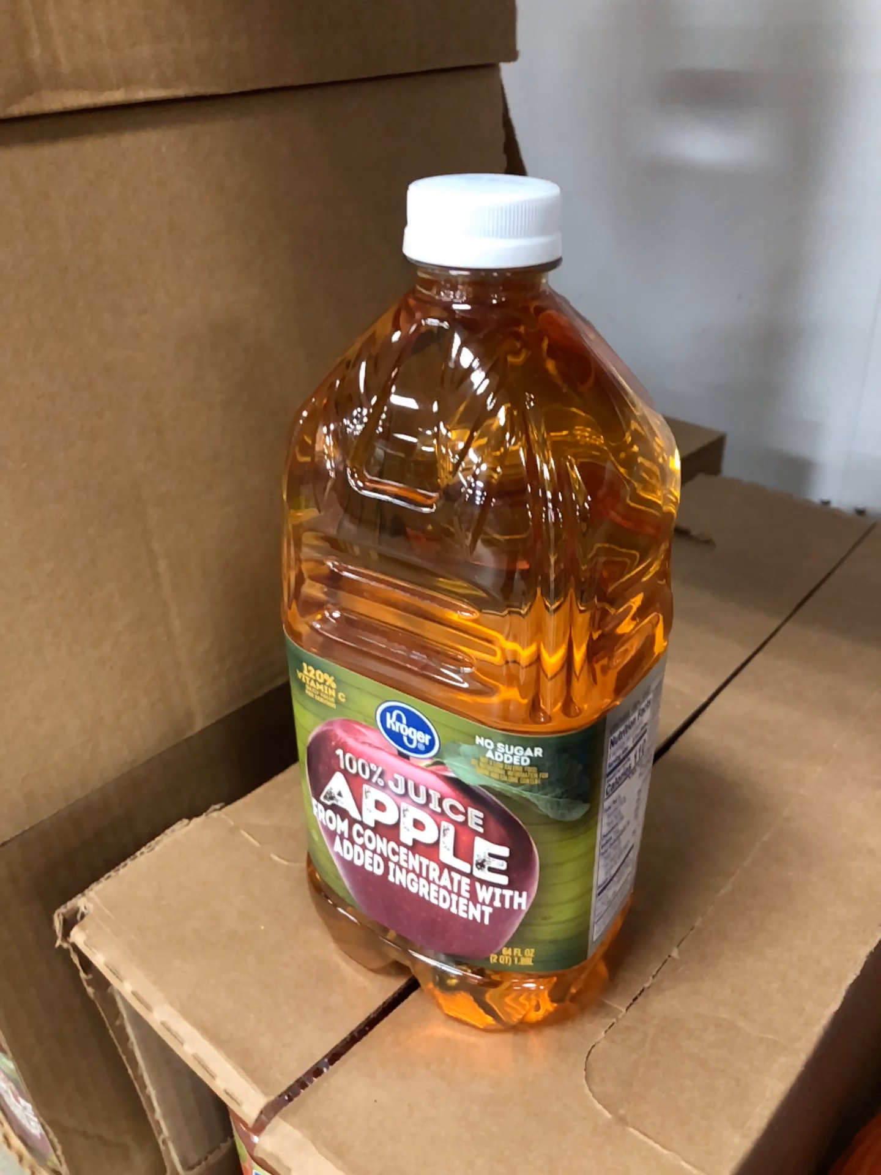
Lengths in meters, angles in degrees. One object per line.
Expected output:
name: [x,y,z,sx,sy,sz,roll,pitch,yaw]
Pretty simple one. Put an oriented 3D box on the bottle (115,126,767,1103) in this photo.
bottle: [0.008,0.008,0.300,0.120,0.259,0.100,17,37,32]
